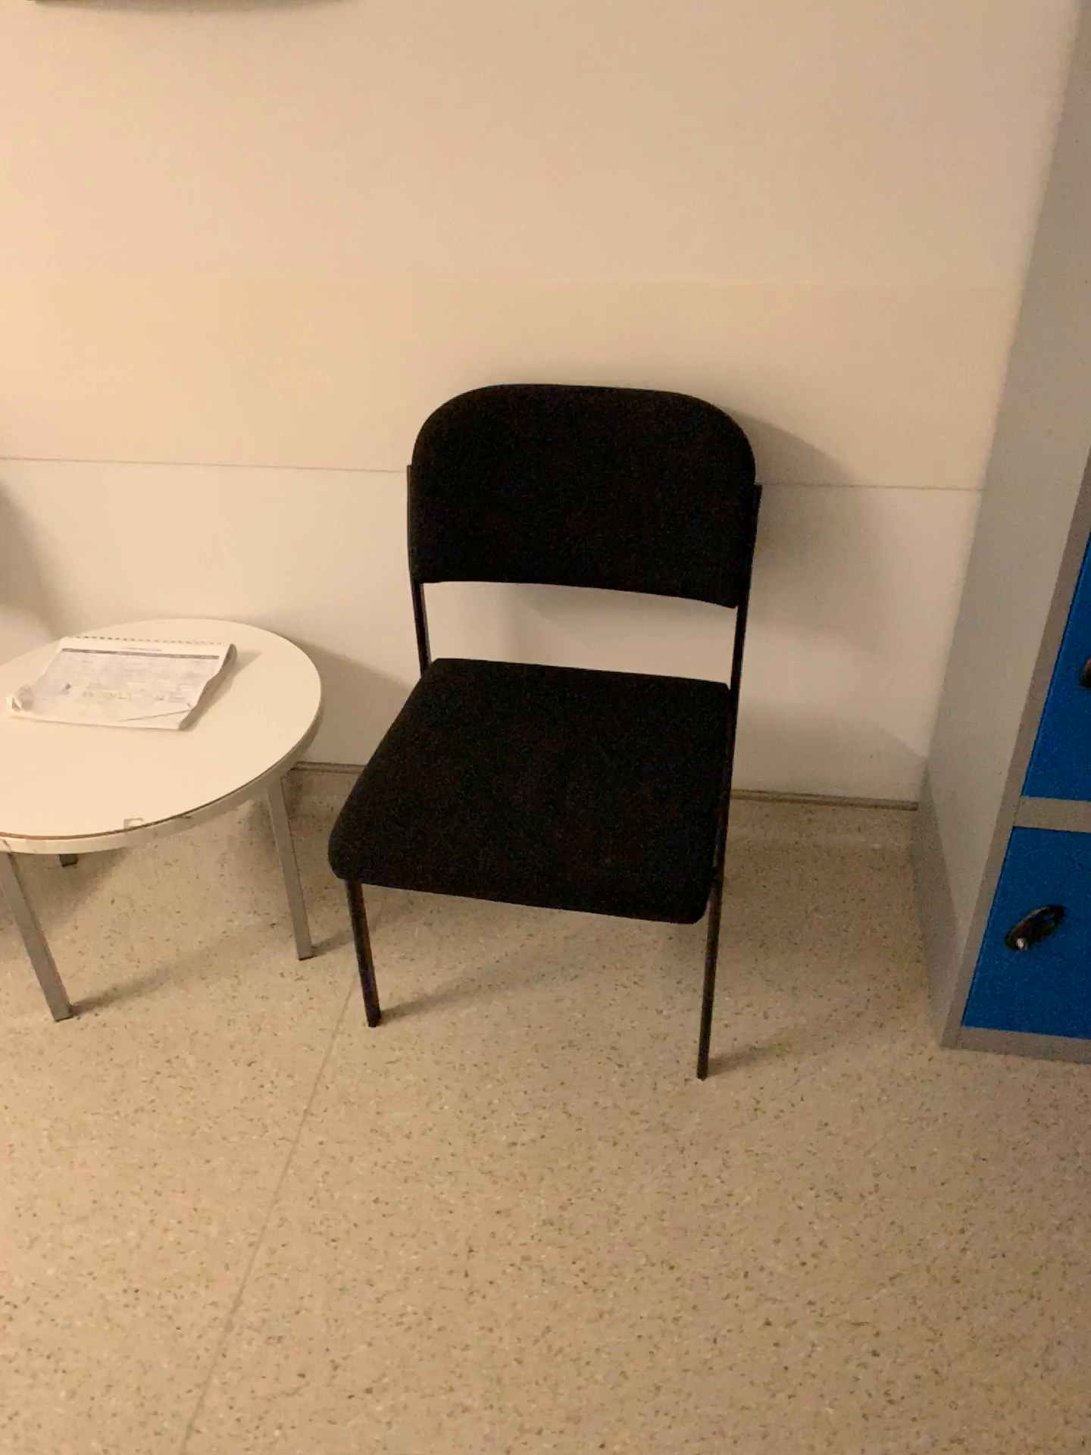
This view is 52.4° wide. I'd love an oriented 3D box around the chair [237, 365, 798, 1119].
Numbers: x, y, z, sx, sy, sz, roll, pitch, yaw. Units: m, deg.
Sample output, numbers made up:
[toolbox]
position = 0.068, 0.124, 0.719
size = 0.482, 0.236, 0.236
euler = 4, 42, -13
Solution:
[chair]
position = 0.017, 0.002, 1.553
size = 0.550, 0.823, 0.555
euler = 7, 34, 12
